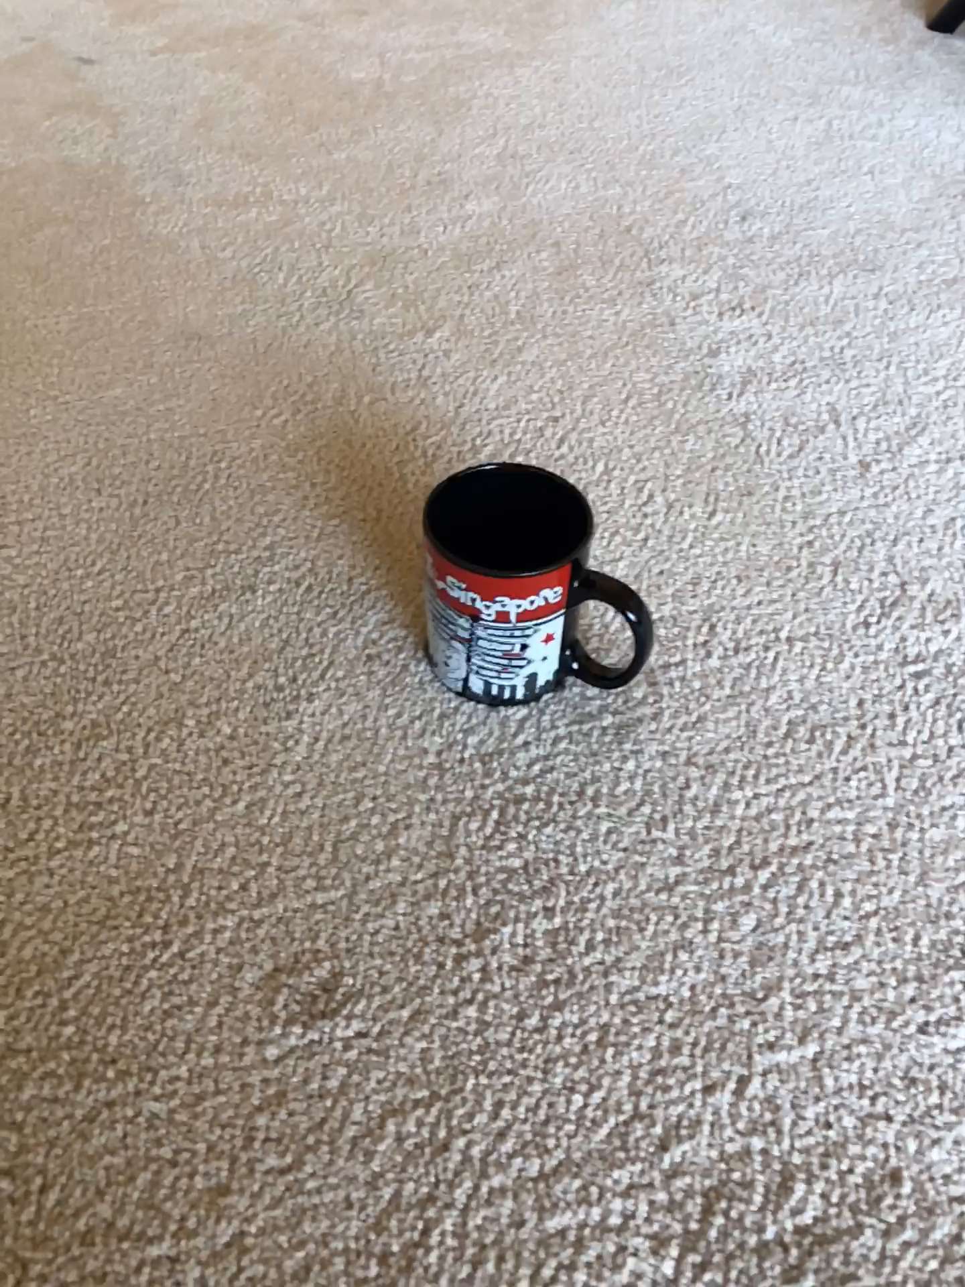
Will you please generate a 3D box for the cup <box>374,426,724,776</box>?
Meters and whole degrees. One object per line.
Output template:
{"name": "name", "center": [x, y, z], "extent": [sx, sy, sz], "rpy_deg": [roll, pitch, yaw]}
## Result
{"name": "cup", "center": [0.029, -0.024, 0.514], "extent": [0.130, 0.090, 0.090], "rpy_deg": [27, 51, 23]}
